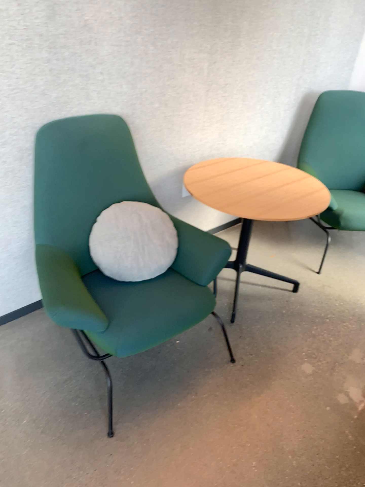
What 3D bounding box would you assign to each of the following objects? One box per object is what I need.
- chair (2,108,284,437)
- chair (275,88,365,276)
[{"bbox_3d":[-0.206,0.034,1.666,0.721,0.994,0.844,-19,38,-32],"label":"chair"},{"bbox_3d":[1.162,-0.429,2.527,0.650,1.014,0.755,-1,31,-9],"label":"chair"}]
